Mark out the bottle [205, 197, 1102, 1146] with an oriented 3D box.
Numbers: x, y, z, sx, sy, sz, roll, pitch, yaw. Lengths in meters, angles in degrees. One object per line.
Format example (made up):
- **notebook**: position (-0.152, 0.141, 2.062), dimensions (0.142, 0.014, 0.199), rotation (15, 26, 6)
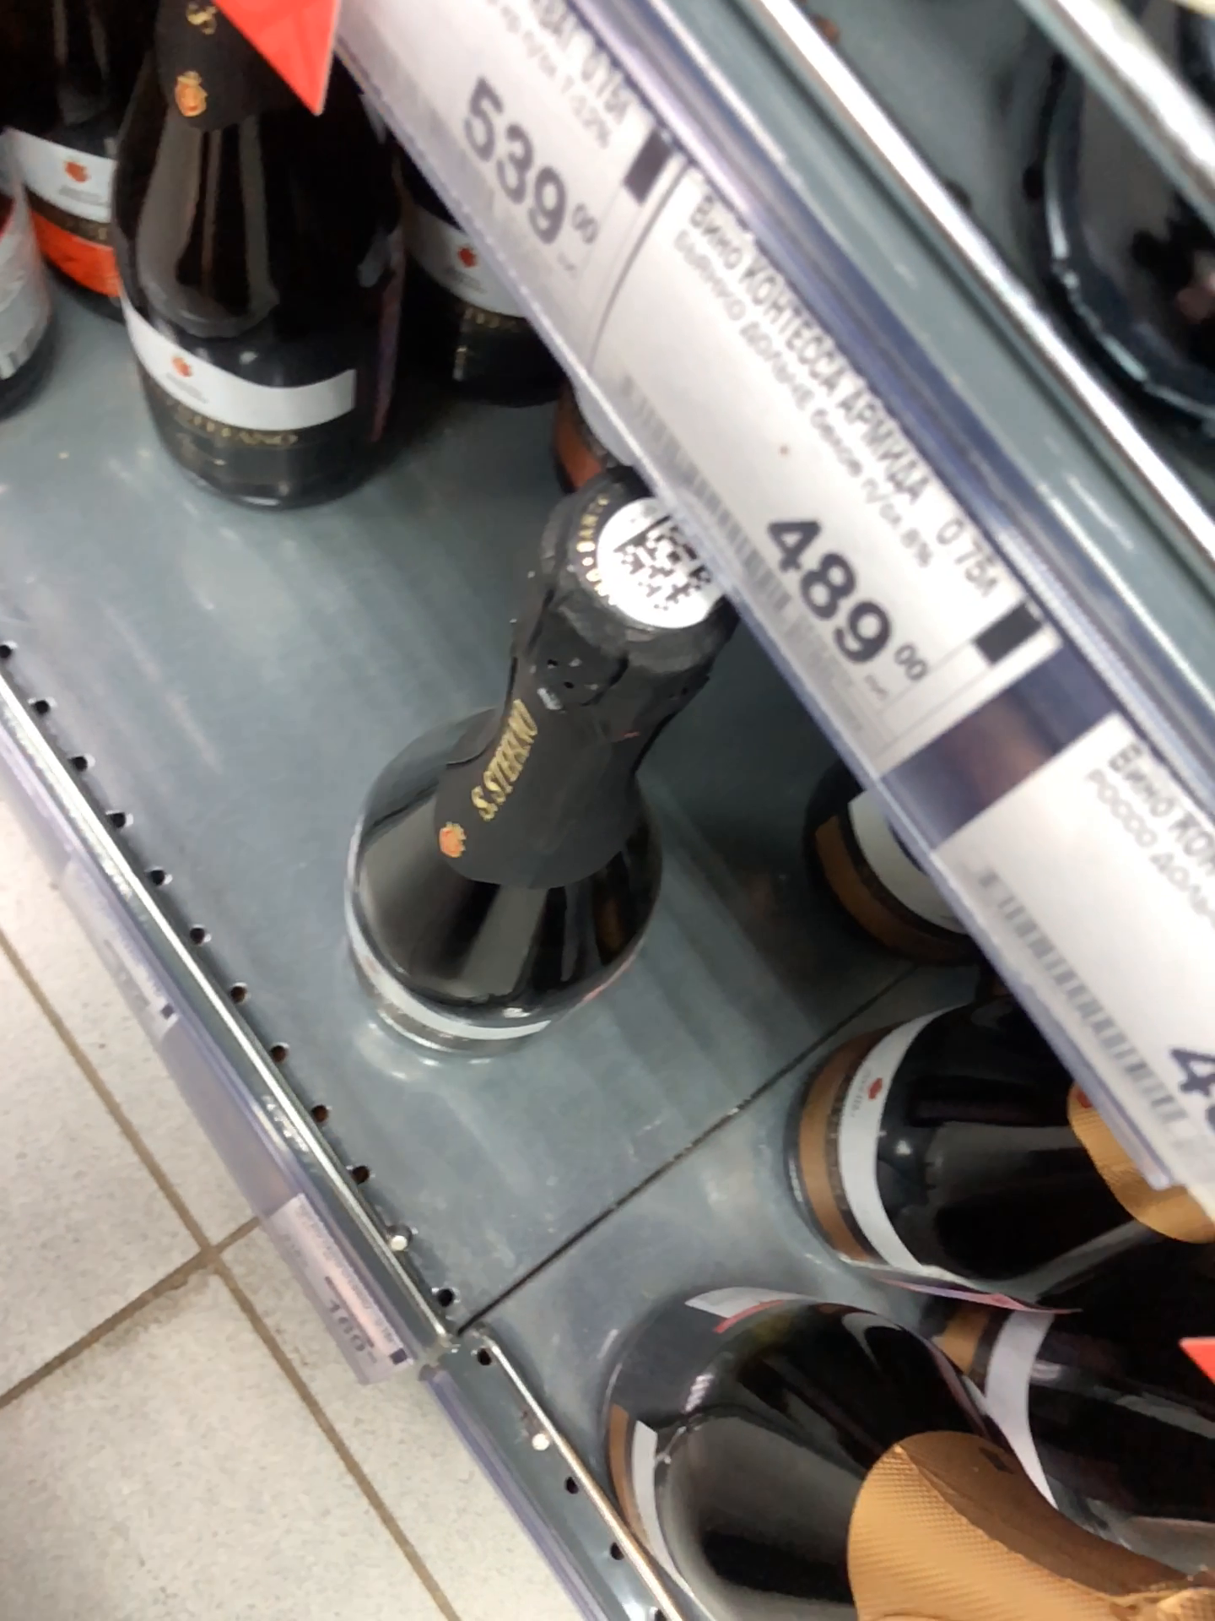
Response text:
- **bottle**: position (-0.019, 0.007, 0.330), dimensions (0.090, 0.289, 0.100), rotation (-35, 84, -19)
